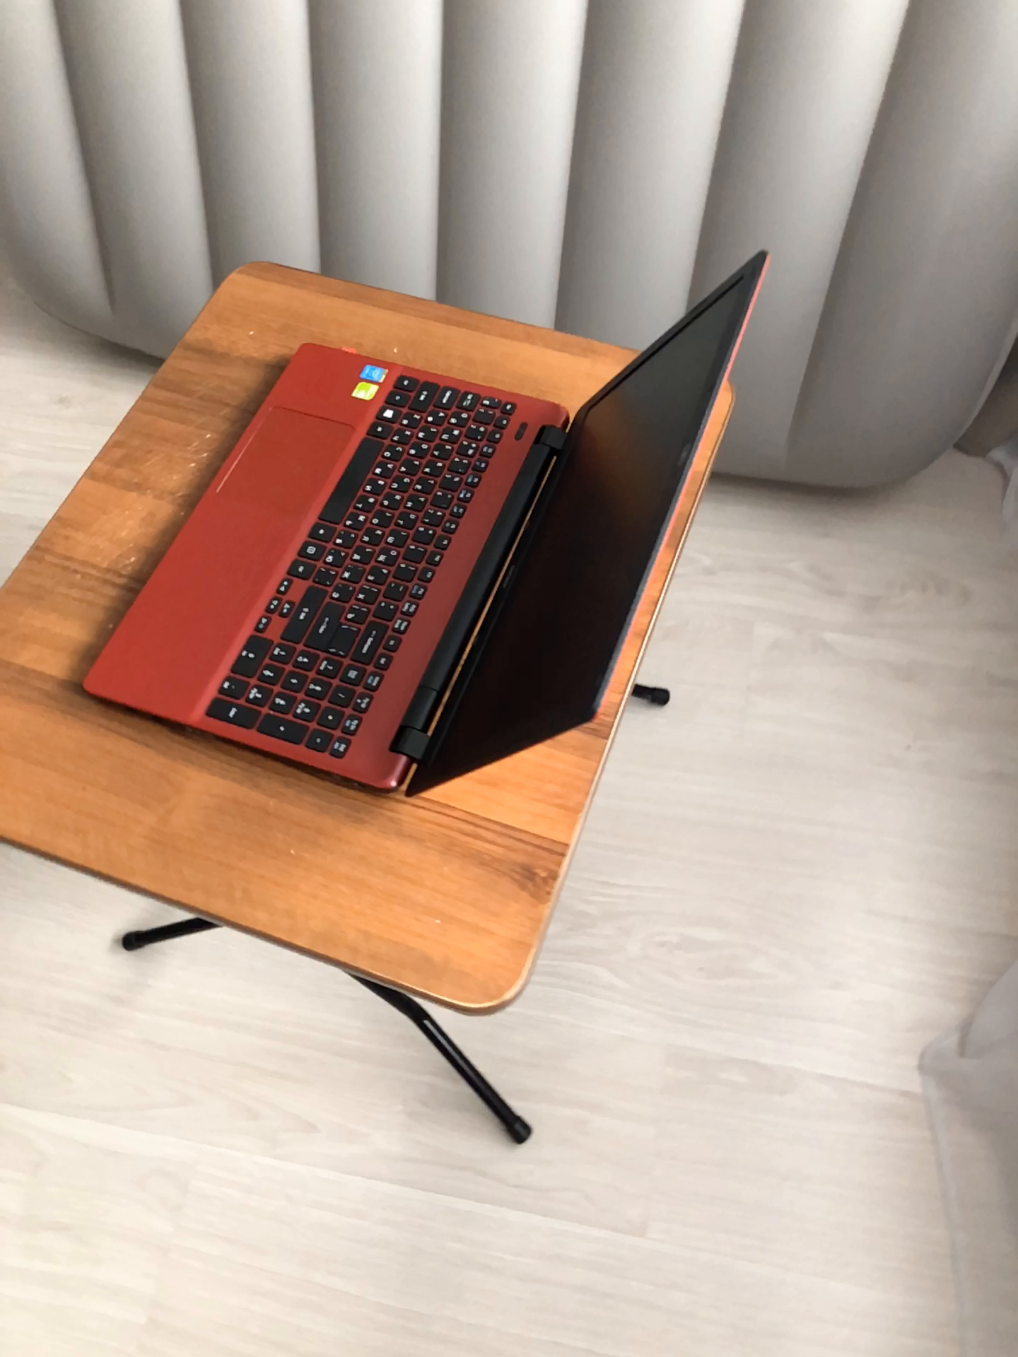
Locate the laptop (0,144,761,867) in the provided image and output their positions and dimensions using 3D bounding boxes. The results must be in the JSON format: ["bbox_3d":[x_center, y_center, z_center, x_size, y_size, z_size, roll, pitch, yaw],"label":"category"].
[{"bbox_3d":[-0.072,-0.135,0.773,0.381,0.191,0.372,18,61,12],"label":"laptop"}]
